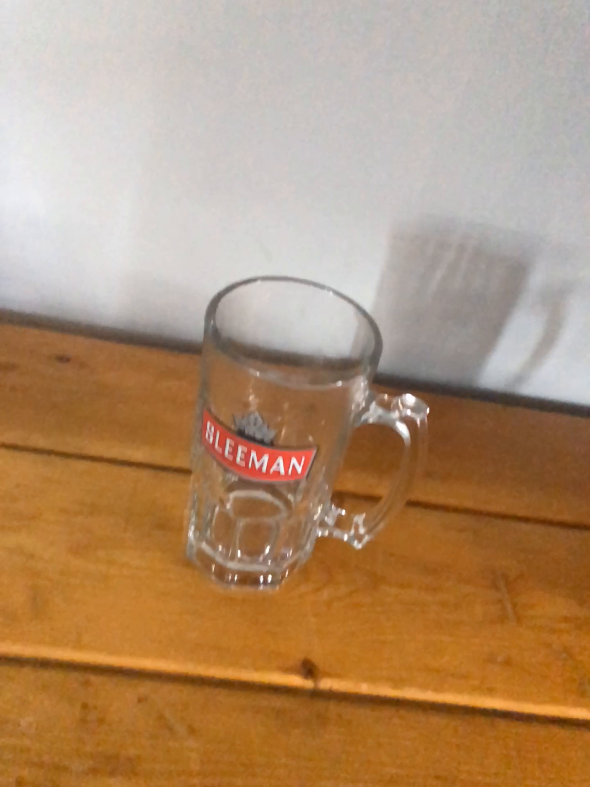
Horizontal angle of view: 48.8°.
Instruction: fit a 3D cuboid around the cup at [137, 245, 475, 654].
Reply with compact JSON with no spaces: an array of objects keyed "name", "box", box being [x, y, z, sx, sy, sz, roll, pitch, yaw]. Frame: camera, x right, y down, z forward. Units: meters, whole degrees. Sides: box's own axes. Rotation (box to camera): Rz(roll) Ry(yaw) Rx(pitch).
[{"name":"cup","box":[-0.003,0.043,0.428,0.160,0.209,0.110,20,42,7]}]
